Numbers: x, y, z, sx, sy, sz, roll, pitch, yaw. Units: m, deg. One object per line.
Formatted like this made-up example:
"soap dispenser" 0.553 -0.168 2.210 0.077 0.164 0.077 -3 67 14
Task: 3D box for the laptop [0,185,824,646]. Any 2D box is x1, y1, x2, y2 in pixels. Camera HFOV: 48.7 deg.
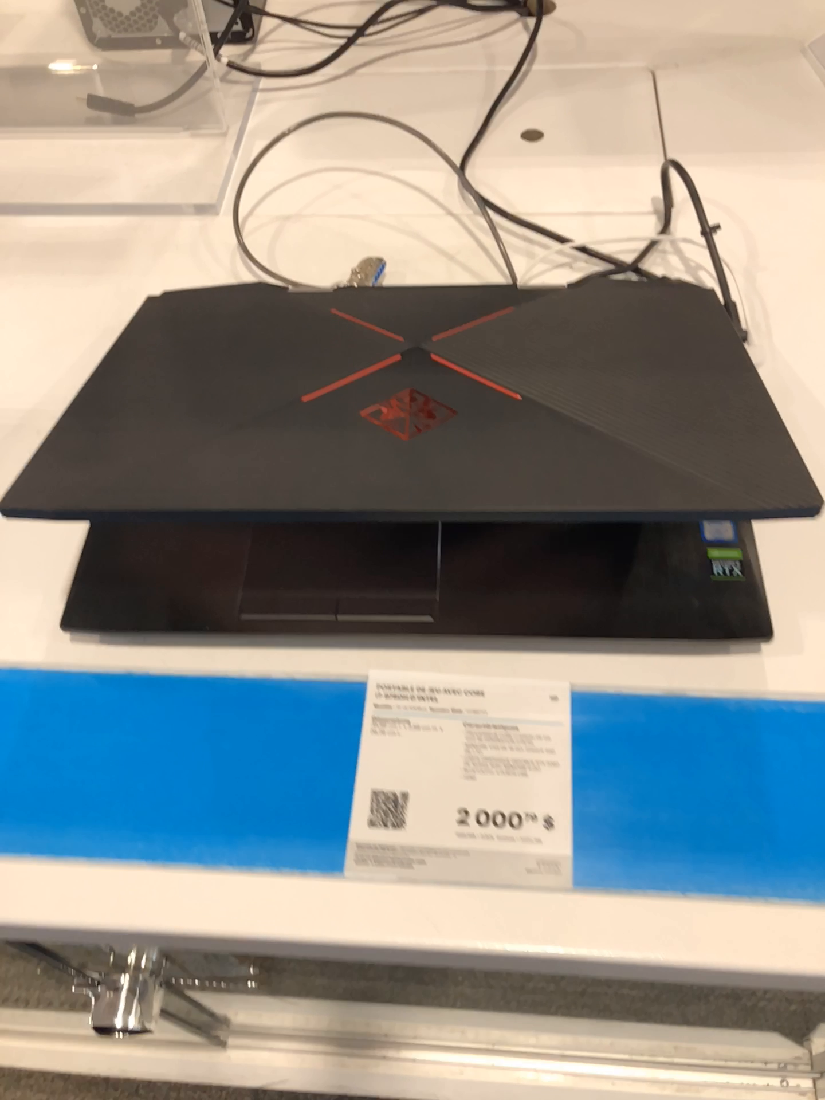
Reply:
"laptop" 0.001 -0.081 0.476 0.346 0.085 0.235 1 56 5
